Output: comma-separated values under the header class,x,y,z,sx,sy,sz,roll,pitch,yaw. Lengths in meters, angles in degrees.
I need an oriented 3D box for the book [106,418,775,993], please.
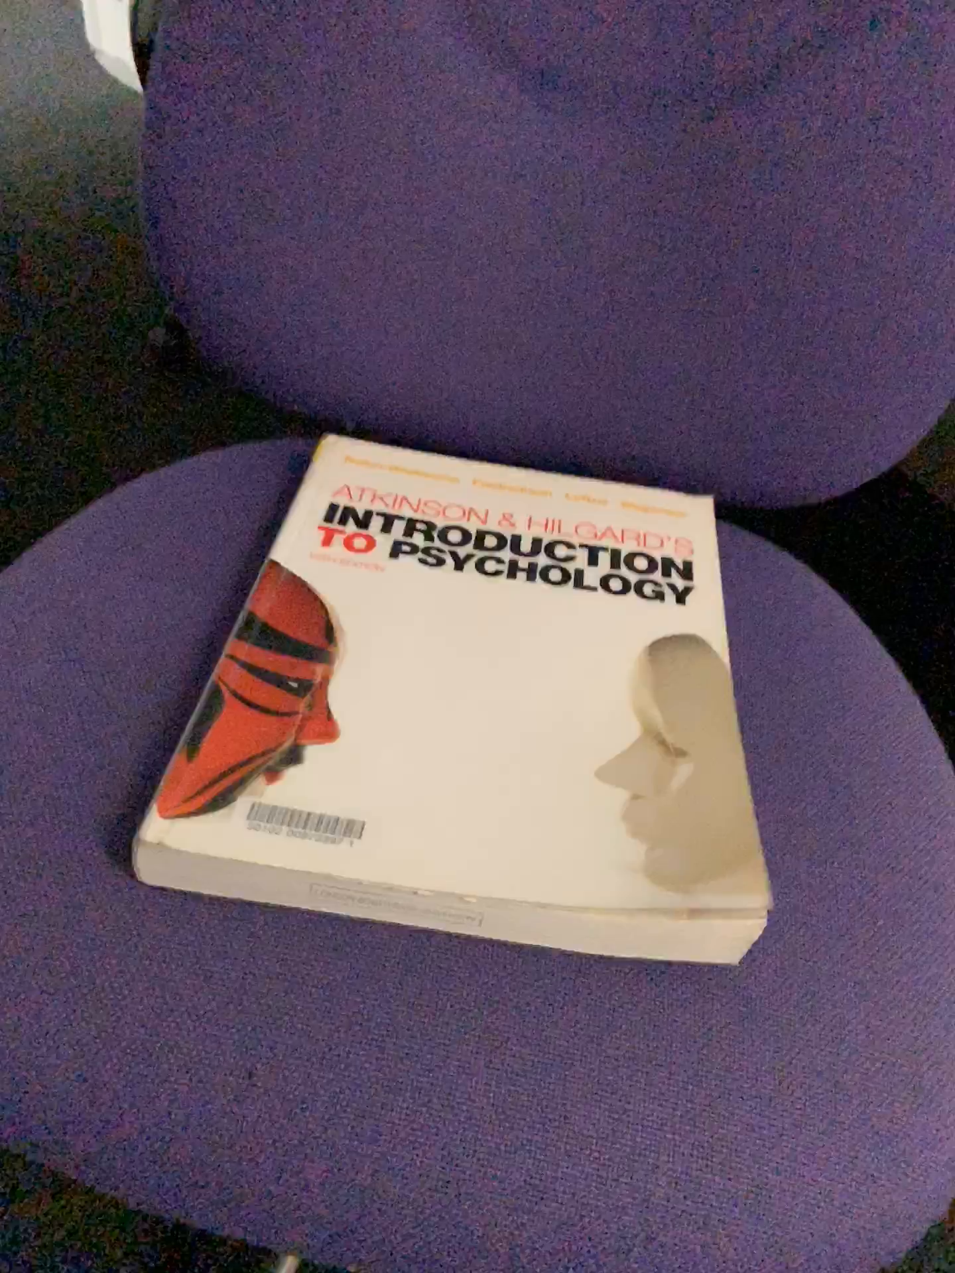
class,x,y,z,sx,sy,sz,roll,pitch,yaw
book,0.002,0.002,0.440,0.222,0.035,0.284,10,40,1
